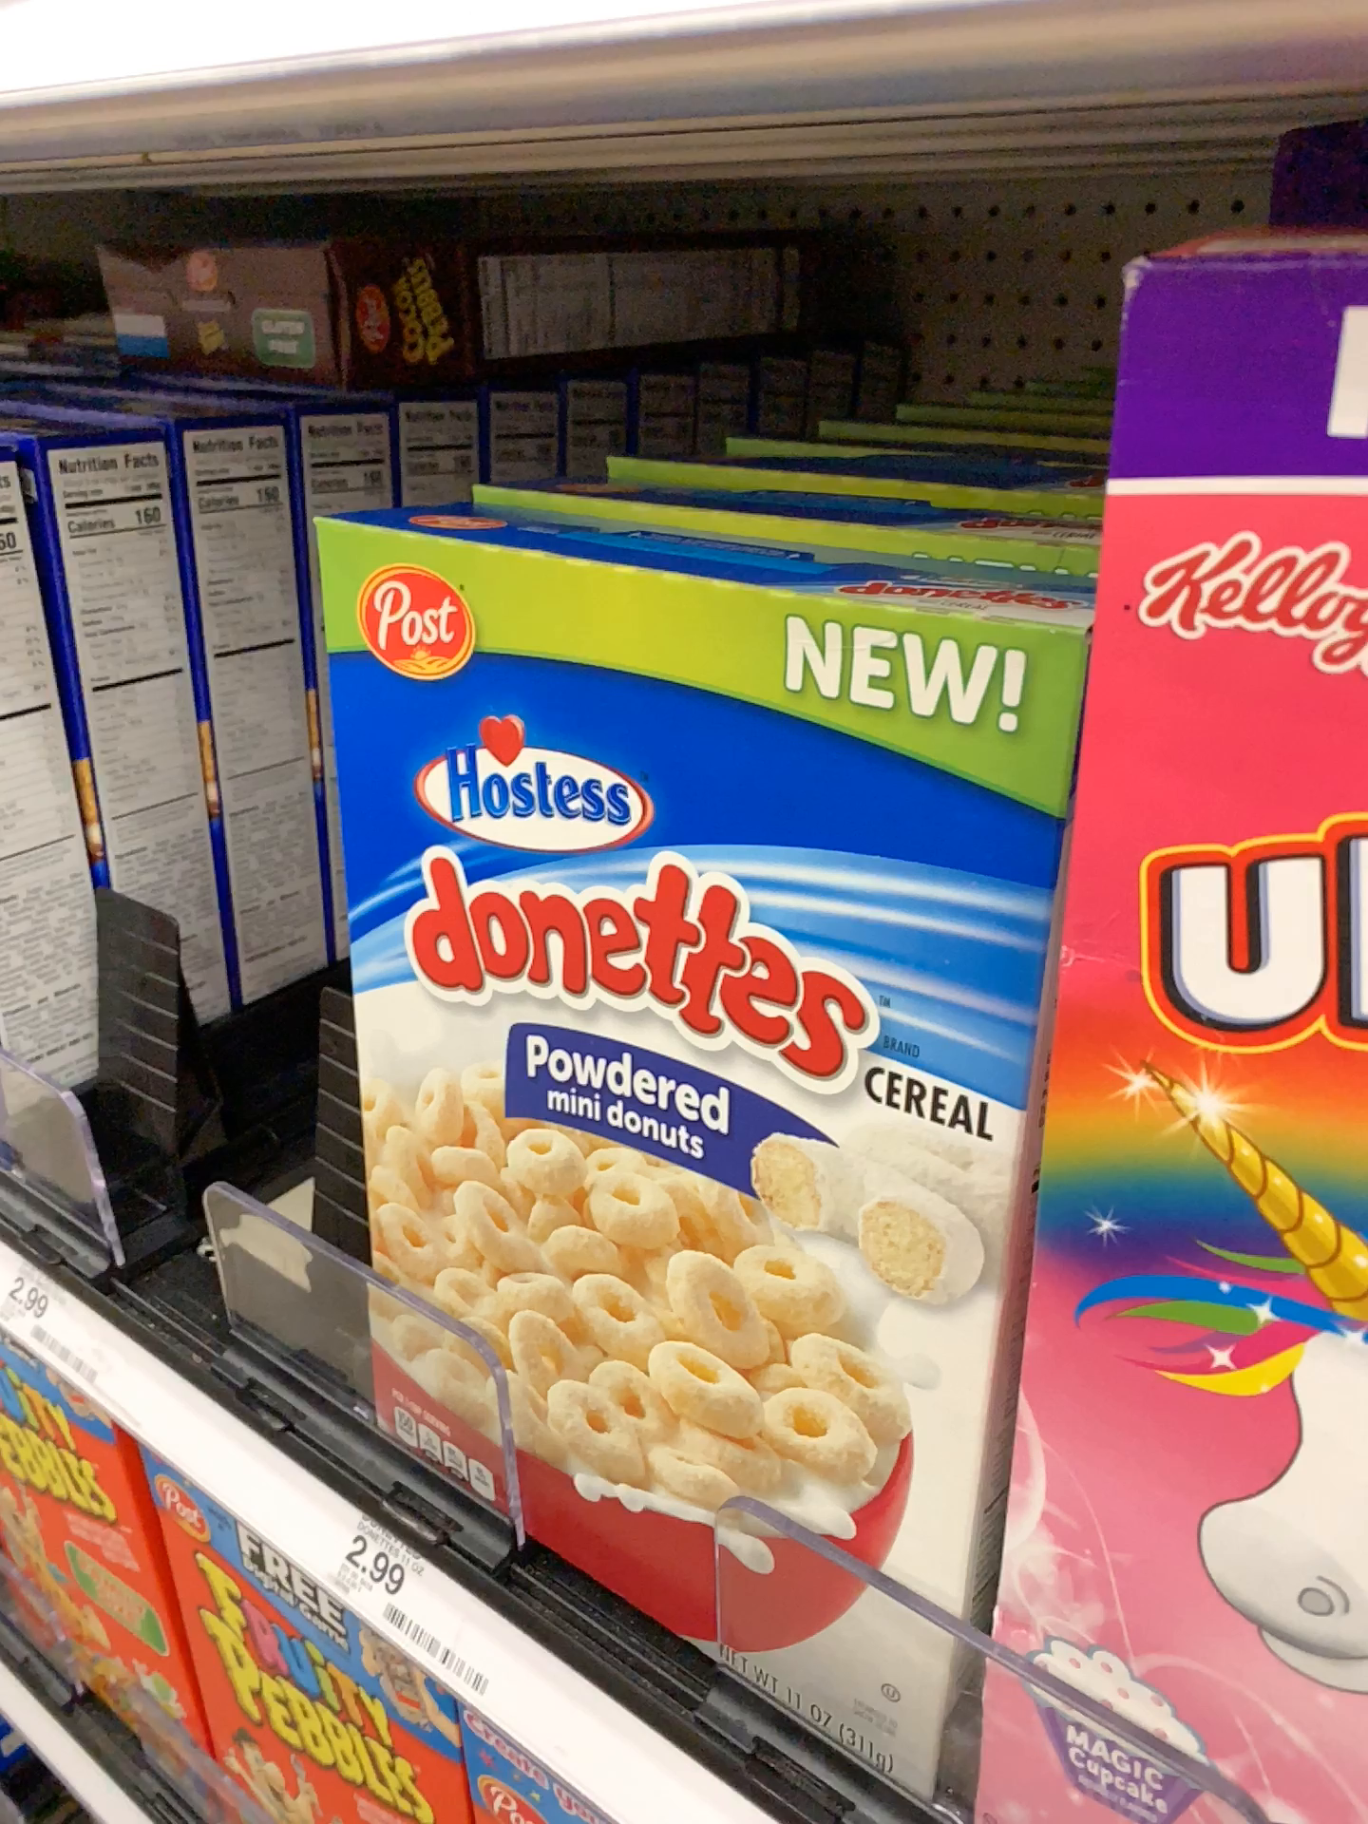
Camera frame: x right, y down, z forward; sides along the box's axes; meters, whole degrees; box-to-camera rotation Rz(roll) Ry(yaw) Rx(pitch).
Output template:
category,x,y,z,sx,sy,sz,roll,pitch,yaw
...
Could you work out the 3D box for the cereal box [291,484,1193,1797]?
category,x,y,z,sx,sy,sz,roll,pitch,yaw
cereal box,-0.001,0.045,0.347,0.190,0.269,0.060,18,27,34
